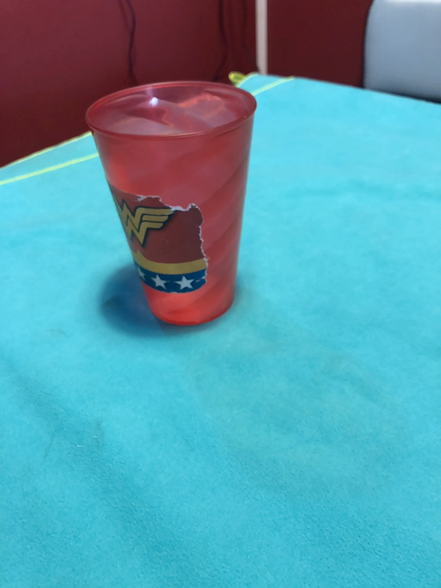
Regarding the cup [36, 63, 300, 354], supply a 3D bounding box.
[{"bbox_3d":[-0.022,-0.052,0.271,0.090,0.109,0.090,-3,38,2],"label":"cup"}]
